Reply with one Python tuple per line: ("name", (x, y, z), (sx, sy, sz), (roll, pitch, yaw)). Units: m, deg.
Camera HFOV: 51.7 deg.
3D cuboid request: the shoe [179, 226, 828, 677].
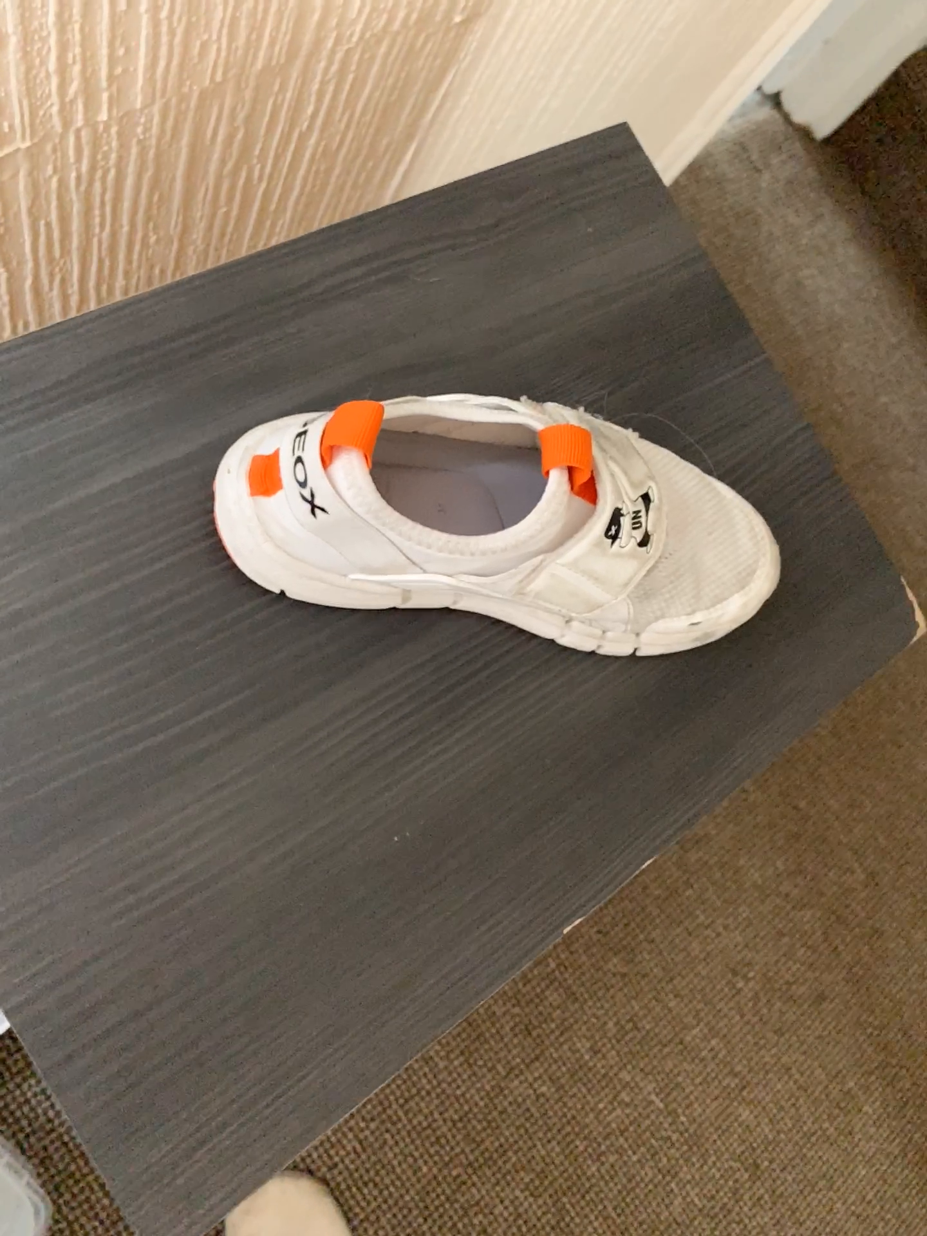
("shoe", (0.020, -0.049, 0.353), (0.222, 0.070, 0.100), (10, 74, -20))
